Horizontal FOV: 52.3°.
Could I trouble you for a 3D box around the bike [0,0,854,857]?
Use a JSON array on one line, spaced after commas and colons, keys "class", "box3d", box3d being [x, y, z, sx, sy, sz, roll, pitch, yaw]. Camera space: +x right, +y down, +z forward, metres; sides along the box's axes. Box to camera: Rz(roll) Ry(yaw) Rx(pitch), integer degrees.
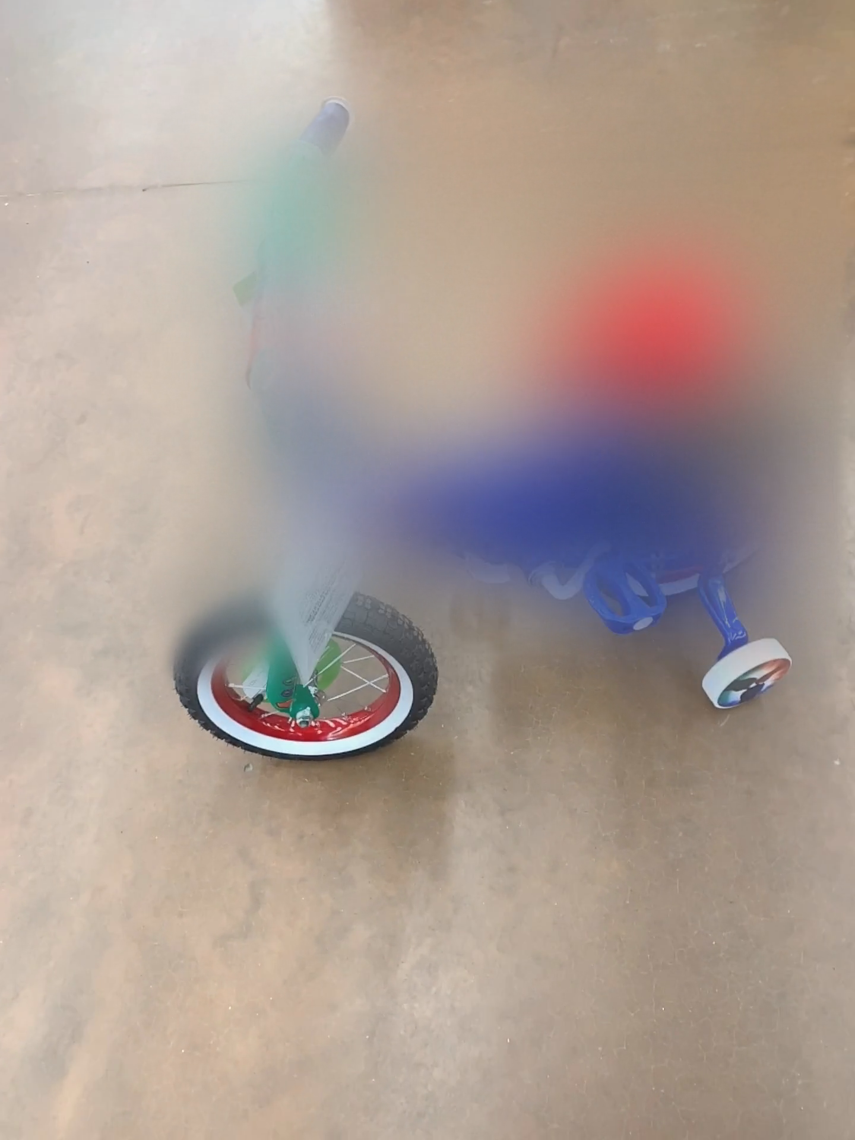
[{"class": "bike", "box3d": [0.069, -0.137, 0.936, 0.793, 0.695, 0.466, -18, 55, -5]}]
